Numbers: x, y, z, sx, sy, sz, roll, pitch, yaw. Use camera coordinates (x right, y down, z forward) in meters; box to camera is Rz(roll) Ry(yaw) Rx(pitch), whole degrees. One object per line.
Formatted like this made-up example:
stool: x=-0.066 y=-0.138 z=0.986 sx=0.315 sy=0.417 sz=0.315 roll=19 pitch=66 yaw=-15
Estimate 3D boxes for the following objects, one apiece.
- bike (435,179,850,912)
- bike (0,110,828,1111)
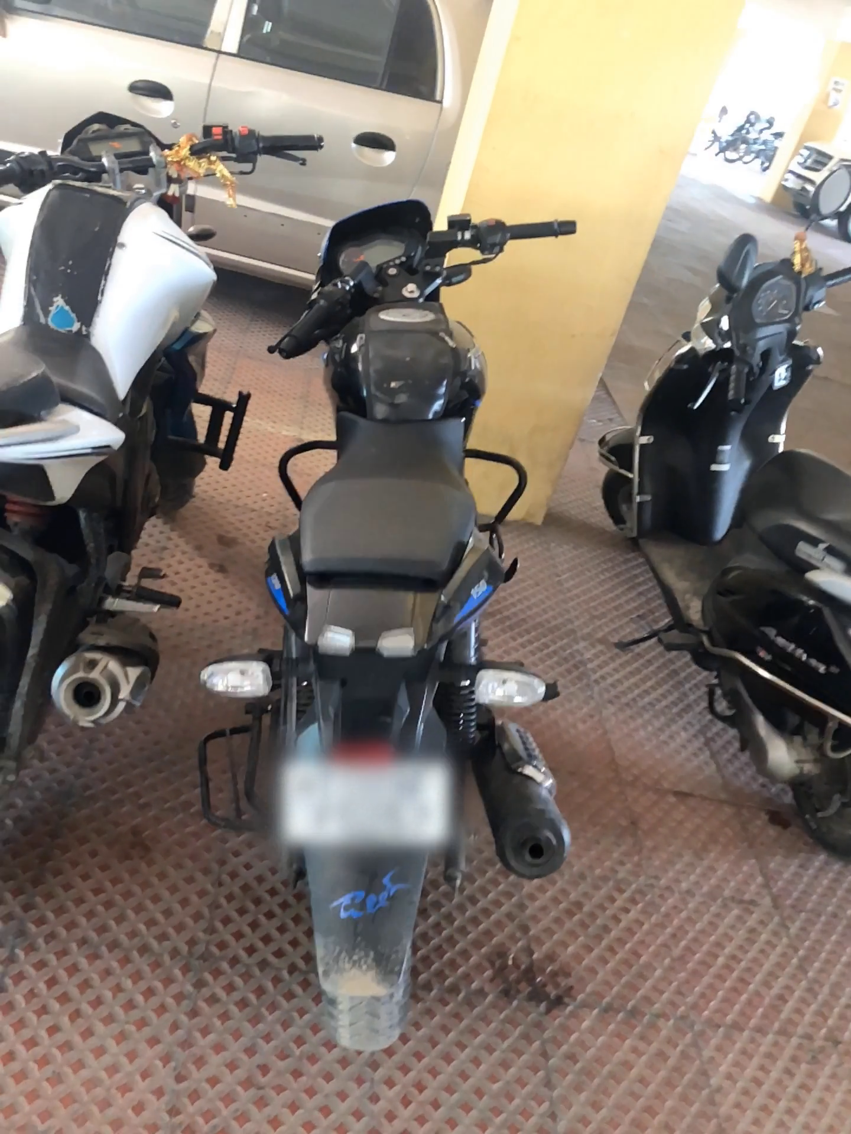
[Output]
bike: x=0.734 y=-0.173 z=2.557 sx=0.713 sy=1.222 sz=1.720 roll=6 pitch=31 yaw=-20
bike: x=-0.217 y=-0.175 z=1.849 sx=0.745 sy=0.989 sz=1.852 roll=11 pitch=30 yaw=-12
